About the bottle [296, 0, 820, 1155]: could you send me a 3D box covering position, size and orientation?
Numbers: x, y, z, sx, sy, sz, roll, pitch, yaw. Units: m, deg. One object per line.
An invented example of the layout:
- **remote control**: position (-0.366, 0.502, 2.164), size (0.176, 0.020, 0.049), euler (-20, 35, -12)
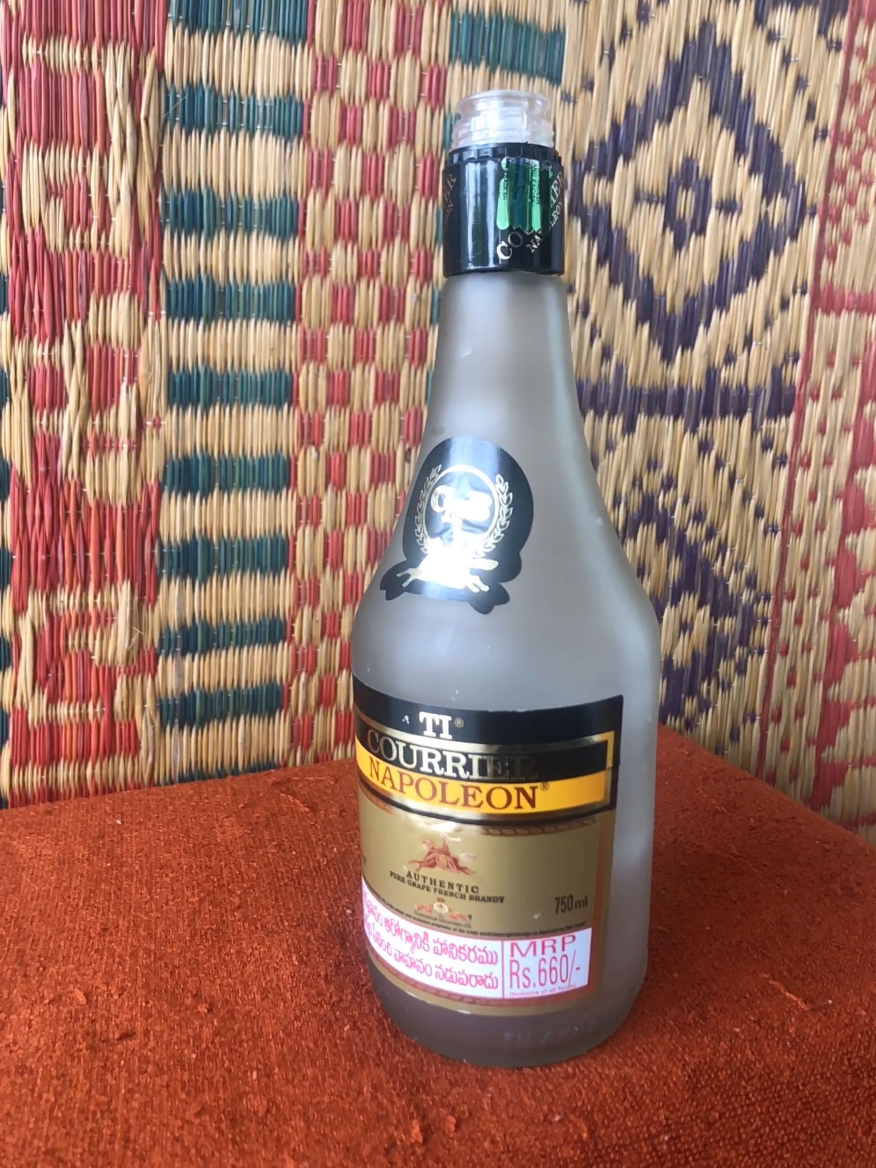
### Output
- **bottle**: position (0.029, 0.000, 0.266), size (0.100, 0.249, 0.090), euler (9, 15, 29)
